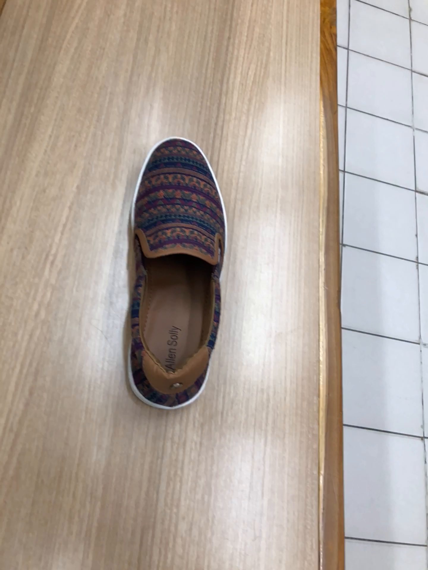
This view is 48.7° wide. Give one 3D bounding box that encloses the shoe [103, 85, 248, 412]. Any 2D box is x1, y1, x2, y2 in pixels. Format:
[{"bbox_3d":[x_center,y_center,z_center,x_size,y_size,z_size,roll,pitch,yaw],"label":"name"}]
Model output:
[{"bbox_3d":[-0.032,-0.031,0.426,0.100,0.090,0.271,7,69,-13],"label":"shoe"}]
